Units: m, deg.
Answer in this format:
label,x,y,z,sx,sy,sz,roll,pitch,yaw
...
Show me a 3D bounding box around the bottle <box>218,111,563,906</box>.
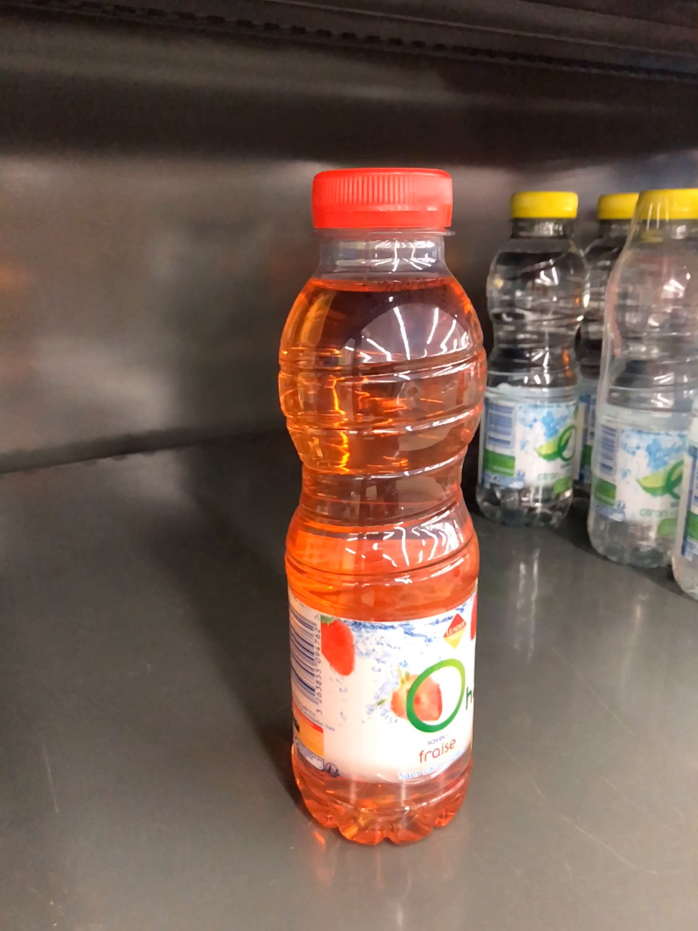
label,x,y,z,sx,sy,sz,roll,pitch,yaw
bottle,0.011,0.013,0.236,0.070,0.209,0.060,-11,19,-31
